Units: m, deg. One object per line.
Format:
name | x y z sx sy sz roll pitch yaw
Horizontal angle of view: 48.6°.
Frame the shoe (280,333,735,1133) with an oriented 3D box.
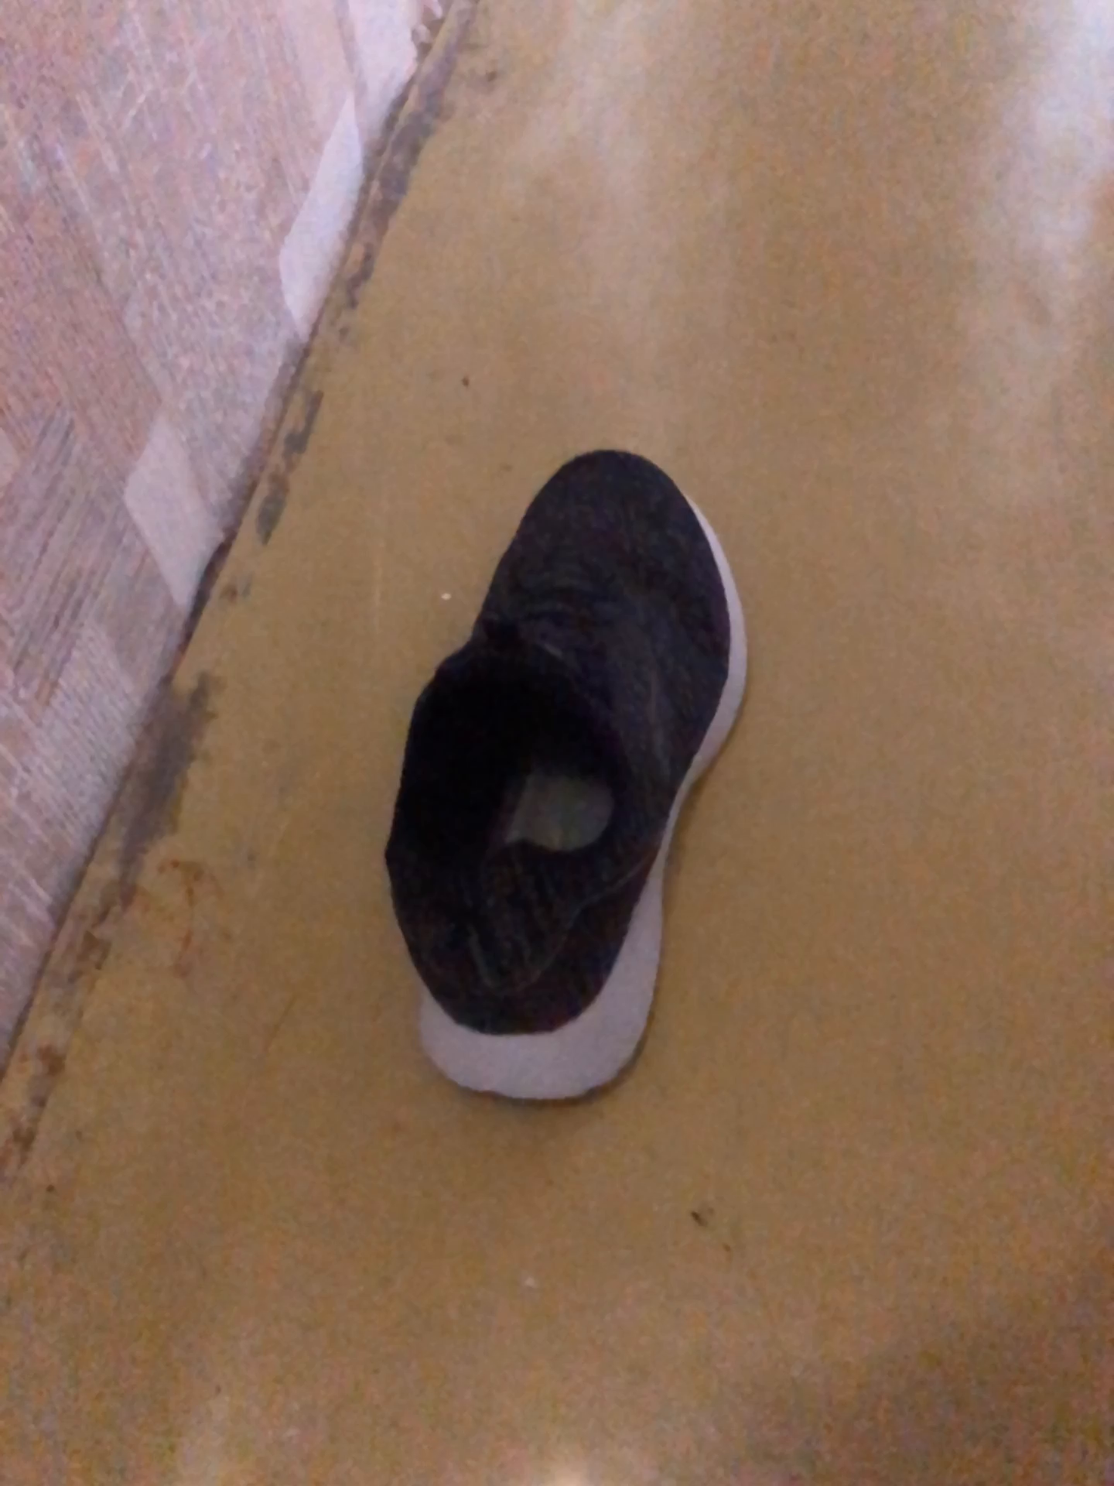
shoe | 0.002 -0.019 0.534 0.120 0.129 0.321 4 57 11
